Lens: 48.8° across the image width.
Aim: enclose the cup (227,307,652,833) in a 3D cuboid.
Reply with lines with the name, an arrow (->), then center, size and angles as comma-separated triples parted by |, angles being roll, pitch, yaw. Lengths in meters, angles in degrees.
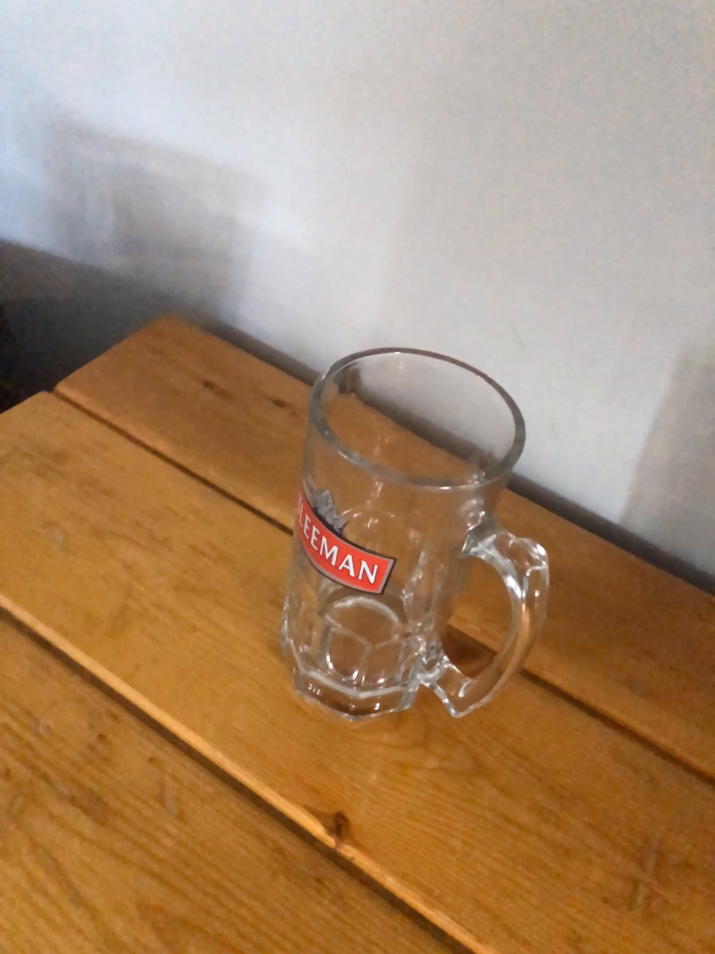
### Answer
cup -> 0.022, 0.052, 0.427 | 0.110, 0.209, 0.160 | -28, 56, -32
